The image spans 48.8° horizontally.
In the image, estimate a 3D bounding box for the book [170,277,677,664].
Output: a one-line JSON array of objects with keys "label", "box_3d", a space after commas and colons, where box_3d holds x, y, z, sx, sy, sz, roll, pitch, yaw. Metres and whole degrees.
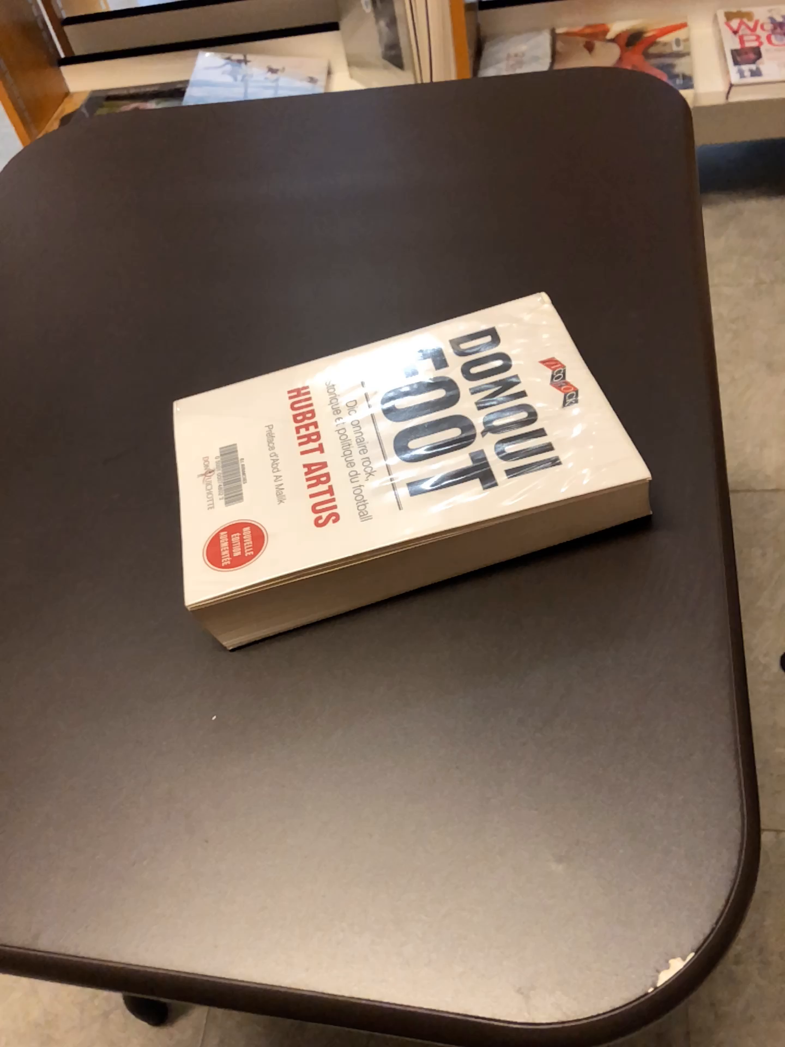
[{"label": "book", "box_3d": [0.004, -0.033, 0.413, 0.207, 0.042, 0.148, -16, 48, 0]}]
